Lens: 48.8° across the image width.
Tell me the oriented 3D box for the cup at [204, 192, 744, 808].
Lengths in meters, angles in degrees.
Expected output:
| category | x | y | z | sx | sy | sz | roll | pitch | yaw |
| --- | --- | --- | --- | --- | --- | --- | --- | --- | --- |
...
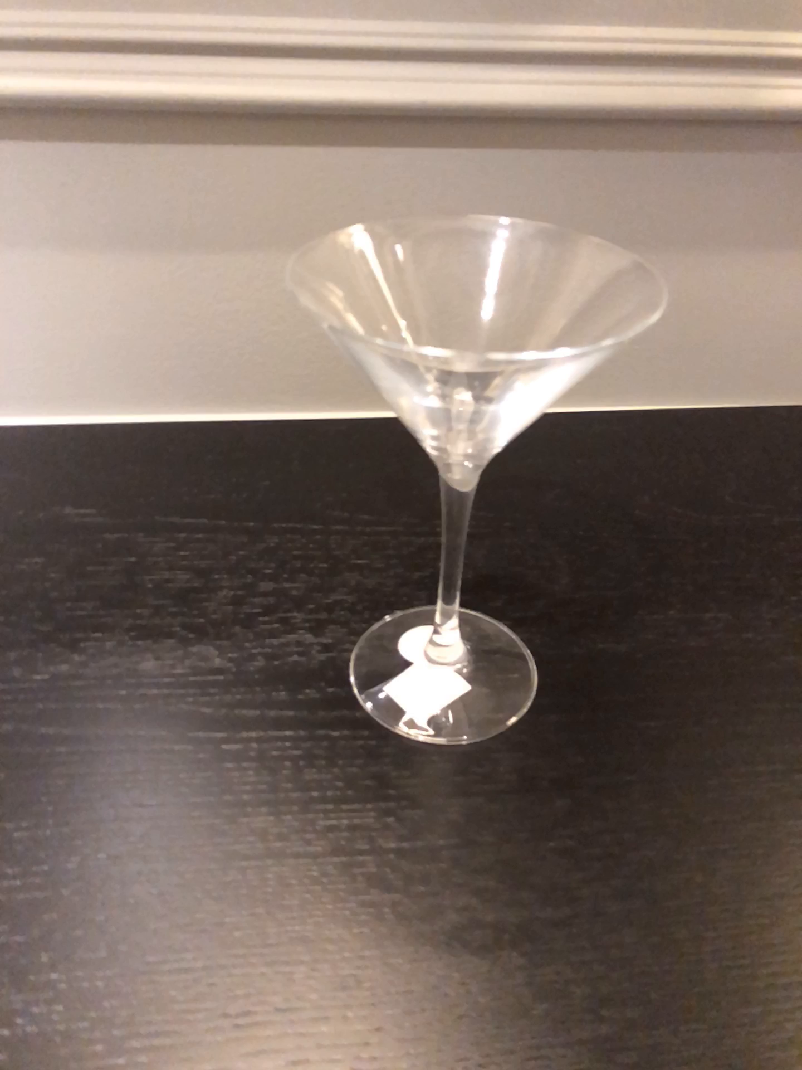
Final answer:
| category | x | y | z | sx | sy | sz | roll | pitch | yaw |
| --- | --- | --- | --- | --- | --- | --- | --- | --- | --- |
| cup | 0.024 | -0.021 | 0.331 | 0.130 | 0.159 | 0.120 | 2 | 36 | -1 |
